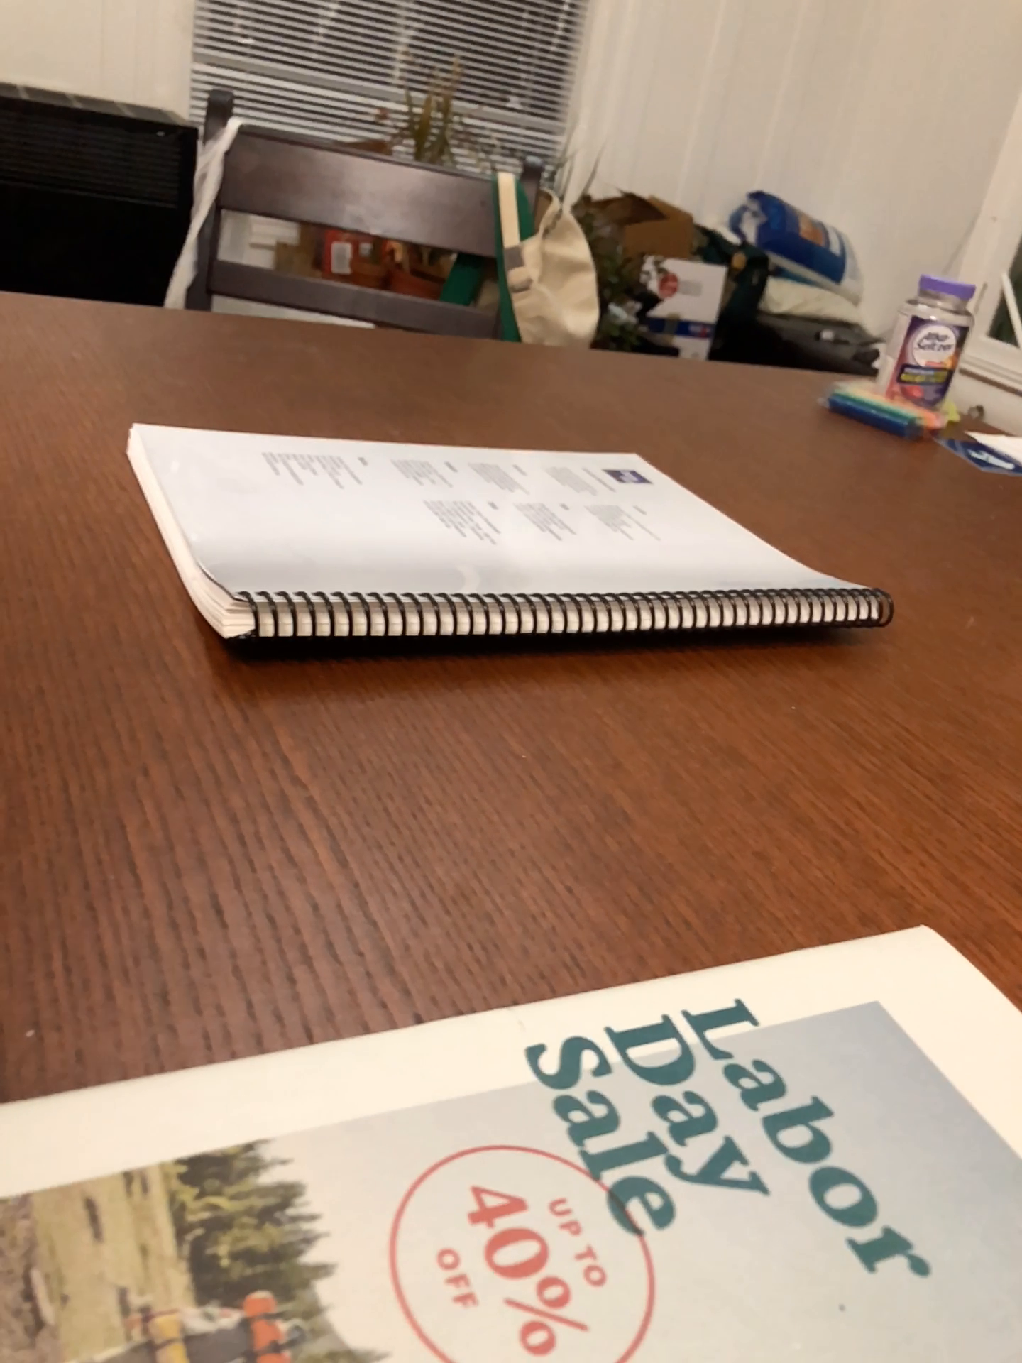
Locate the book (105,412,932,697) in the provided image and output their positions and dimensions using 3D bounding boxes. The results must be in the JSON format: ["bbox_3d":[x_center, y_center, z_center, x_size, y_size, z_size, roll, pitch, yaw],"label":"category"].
[{"bbox_3d":[-0.006,-0.067,0.502,0.301,0.020,0.231,-3,30,-27],"label":"book"}]
